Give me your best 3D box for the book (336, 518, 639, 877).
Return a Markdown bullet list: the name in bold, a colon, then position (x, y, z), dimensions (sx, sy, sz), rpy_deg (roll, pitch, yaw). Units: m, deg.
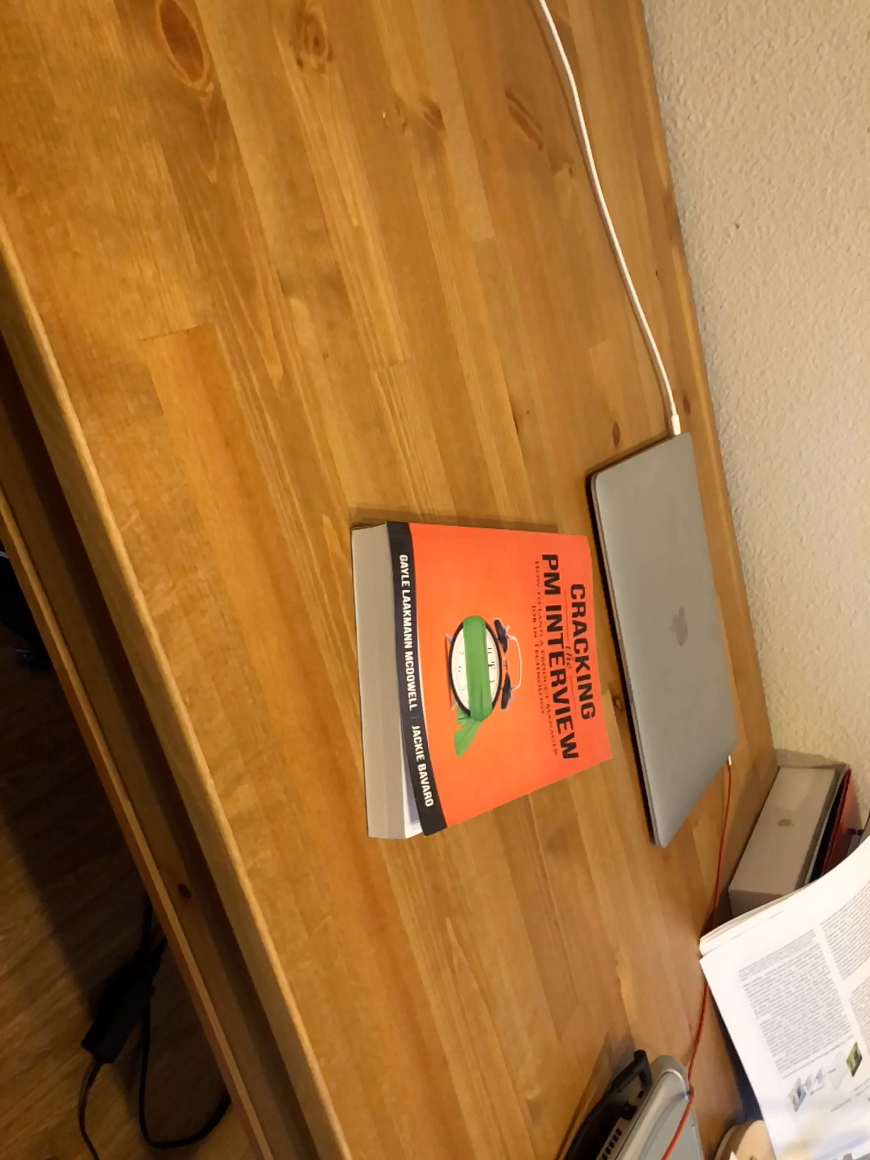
- **book**: position (0.044, 0.052, 0.546), dimensions (0.252, 0.040, 0.160), rpy_deg (-1, 87, -57)
